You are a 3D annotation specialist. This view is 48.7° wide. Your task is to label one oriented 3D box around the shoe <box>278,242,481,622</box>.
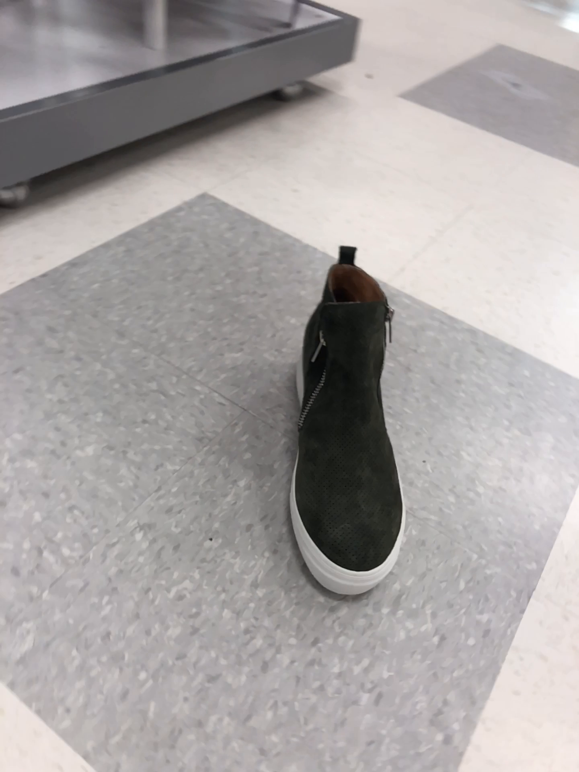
[{"bbox_3d":[0.054,0.025,0.545,0.108,0.141,0.293,6,45,-6],"label":"shoe"}]
